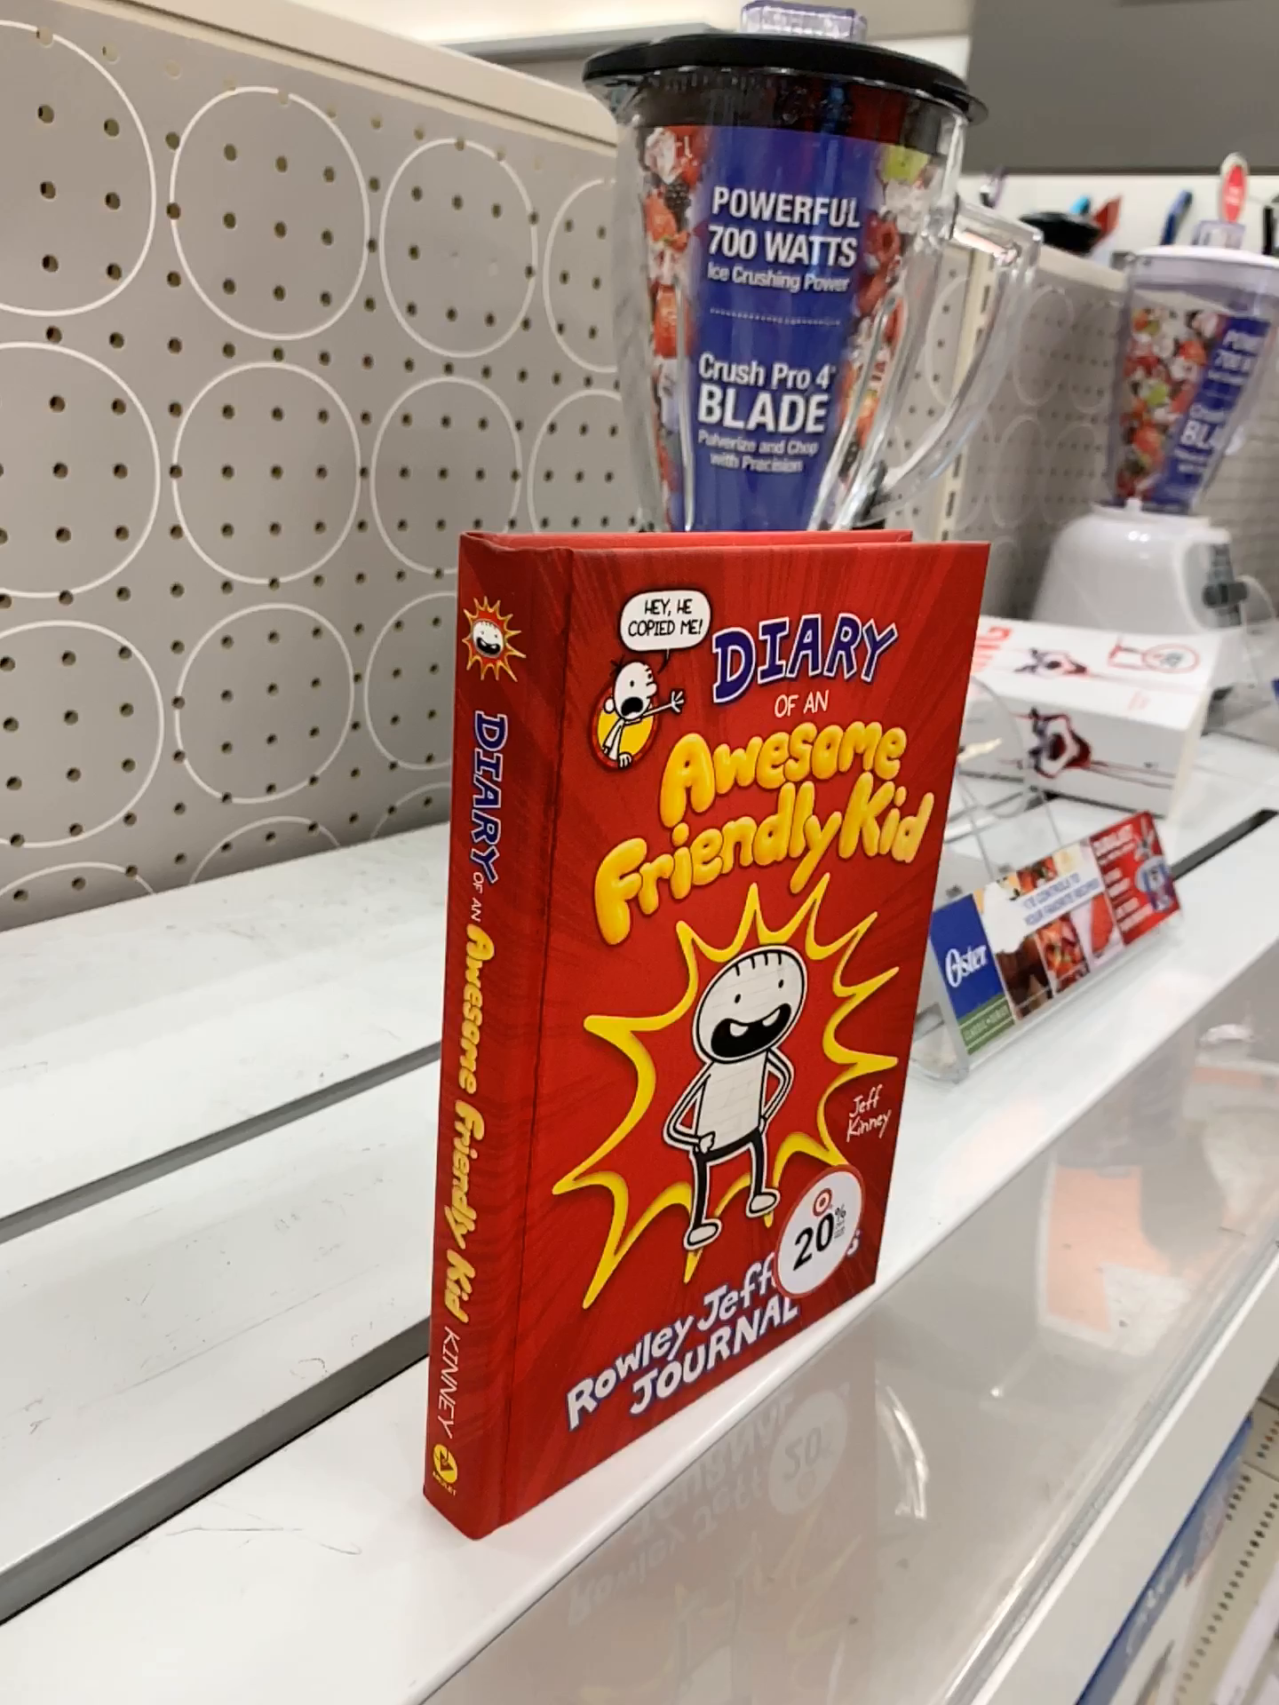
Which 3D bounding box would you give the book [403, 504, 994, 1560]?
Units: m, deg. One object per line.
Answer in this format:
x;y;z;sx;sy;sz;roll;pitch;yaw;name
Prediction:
0.015;0.031;0.301;0.030;0.209;0.140;20;24;41;book
